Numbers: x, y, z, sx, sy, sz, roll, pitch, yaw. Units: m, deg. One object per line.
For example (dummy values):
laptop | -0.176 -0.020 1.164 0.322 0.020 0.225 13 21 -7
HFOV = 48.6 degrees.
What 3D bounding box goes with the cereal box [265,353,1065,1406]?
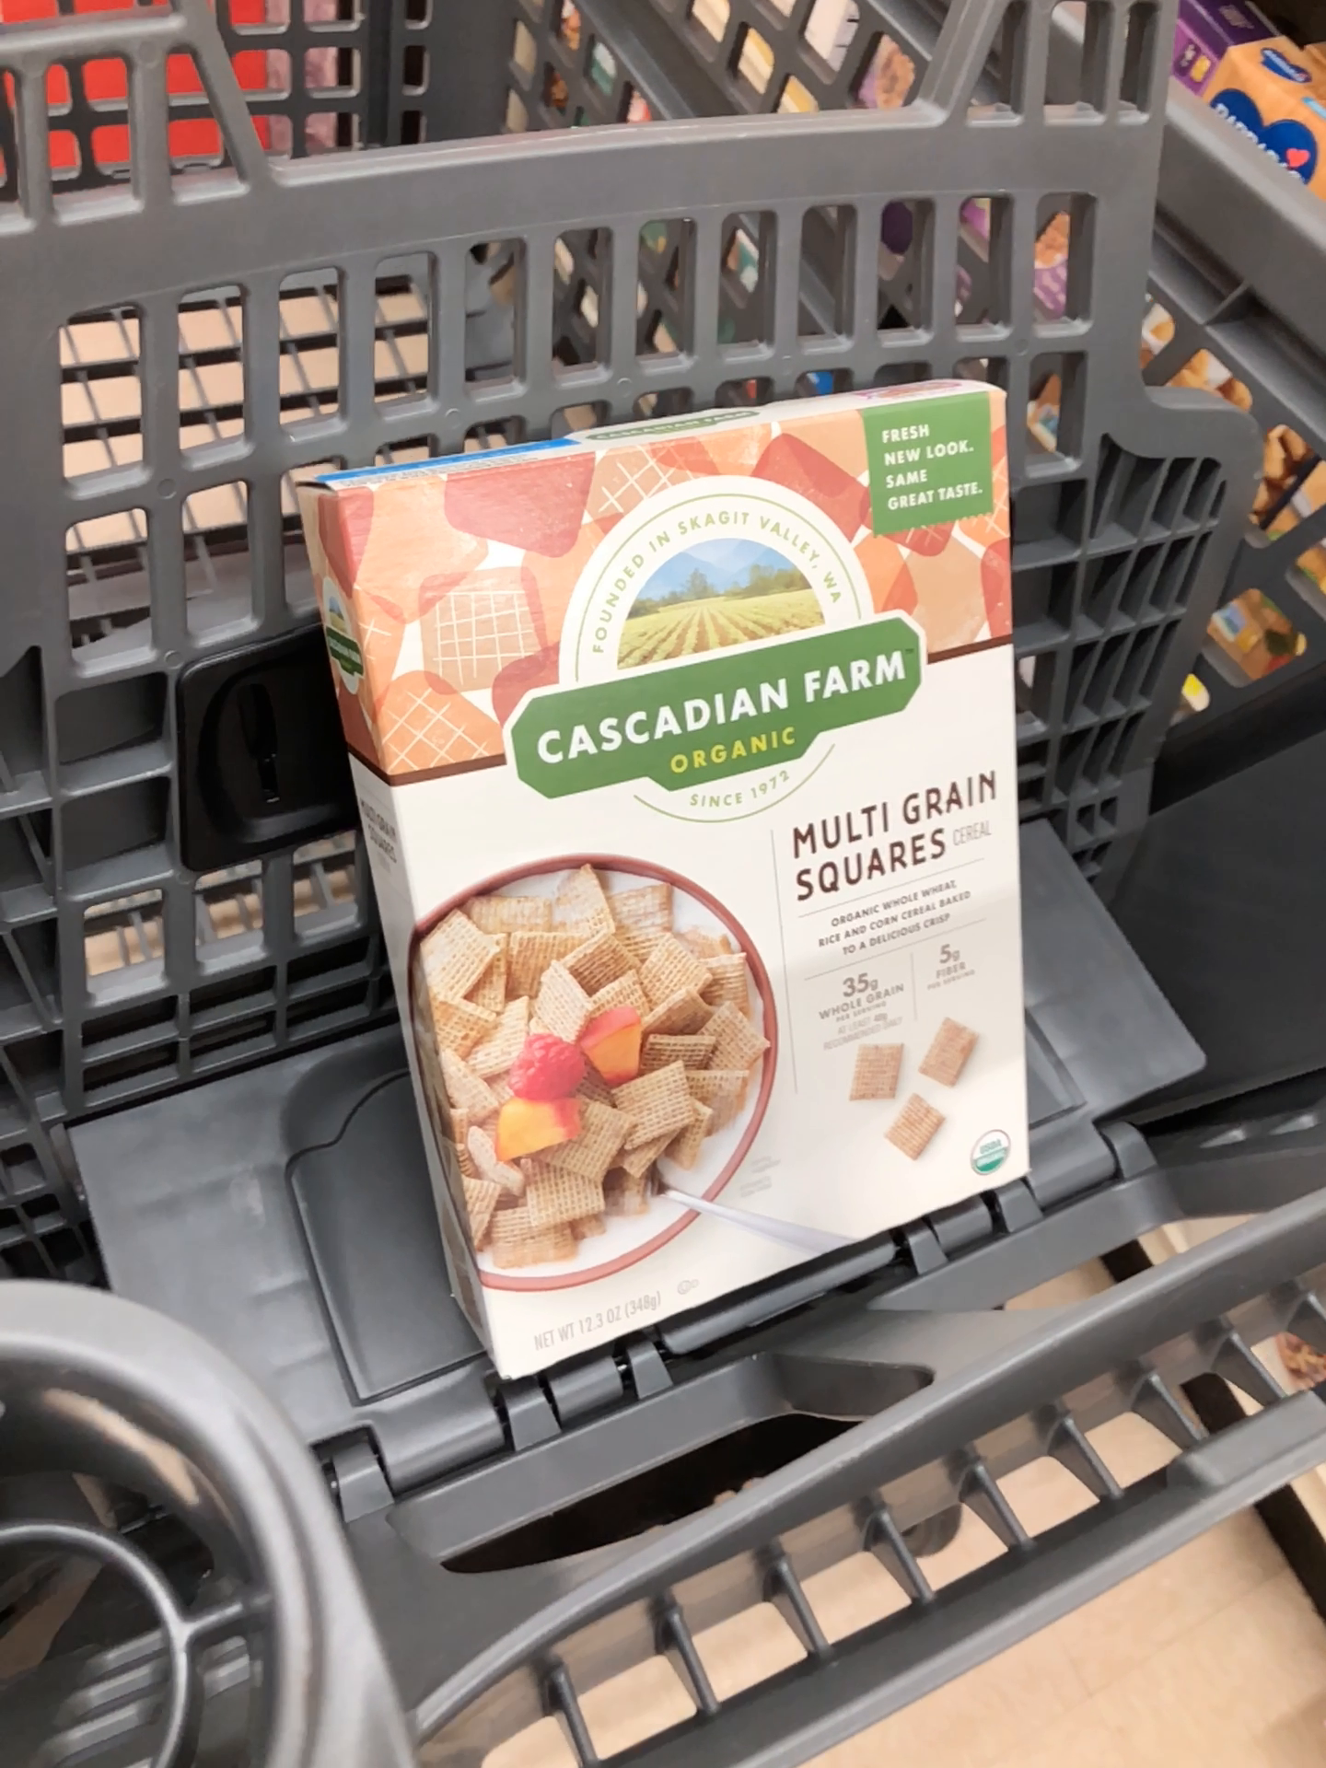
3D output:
cereal box | 0.016 -0.006 0.433 0.200 0.260 0.060 -16 22 -21
